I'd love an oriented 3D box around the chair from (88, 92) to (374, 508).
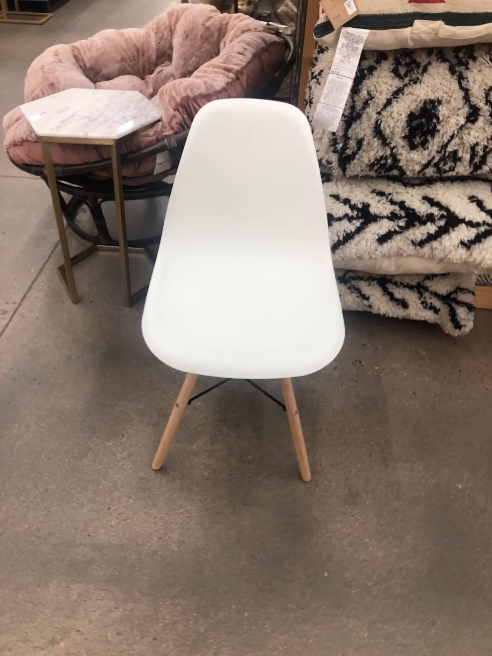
[{"bbox_3d":[-0.023,-0.043,1.295,0.440,0.806,0.533,5,42,1],"label":"chair"}]
